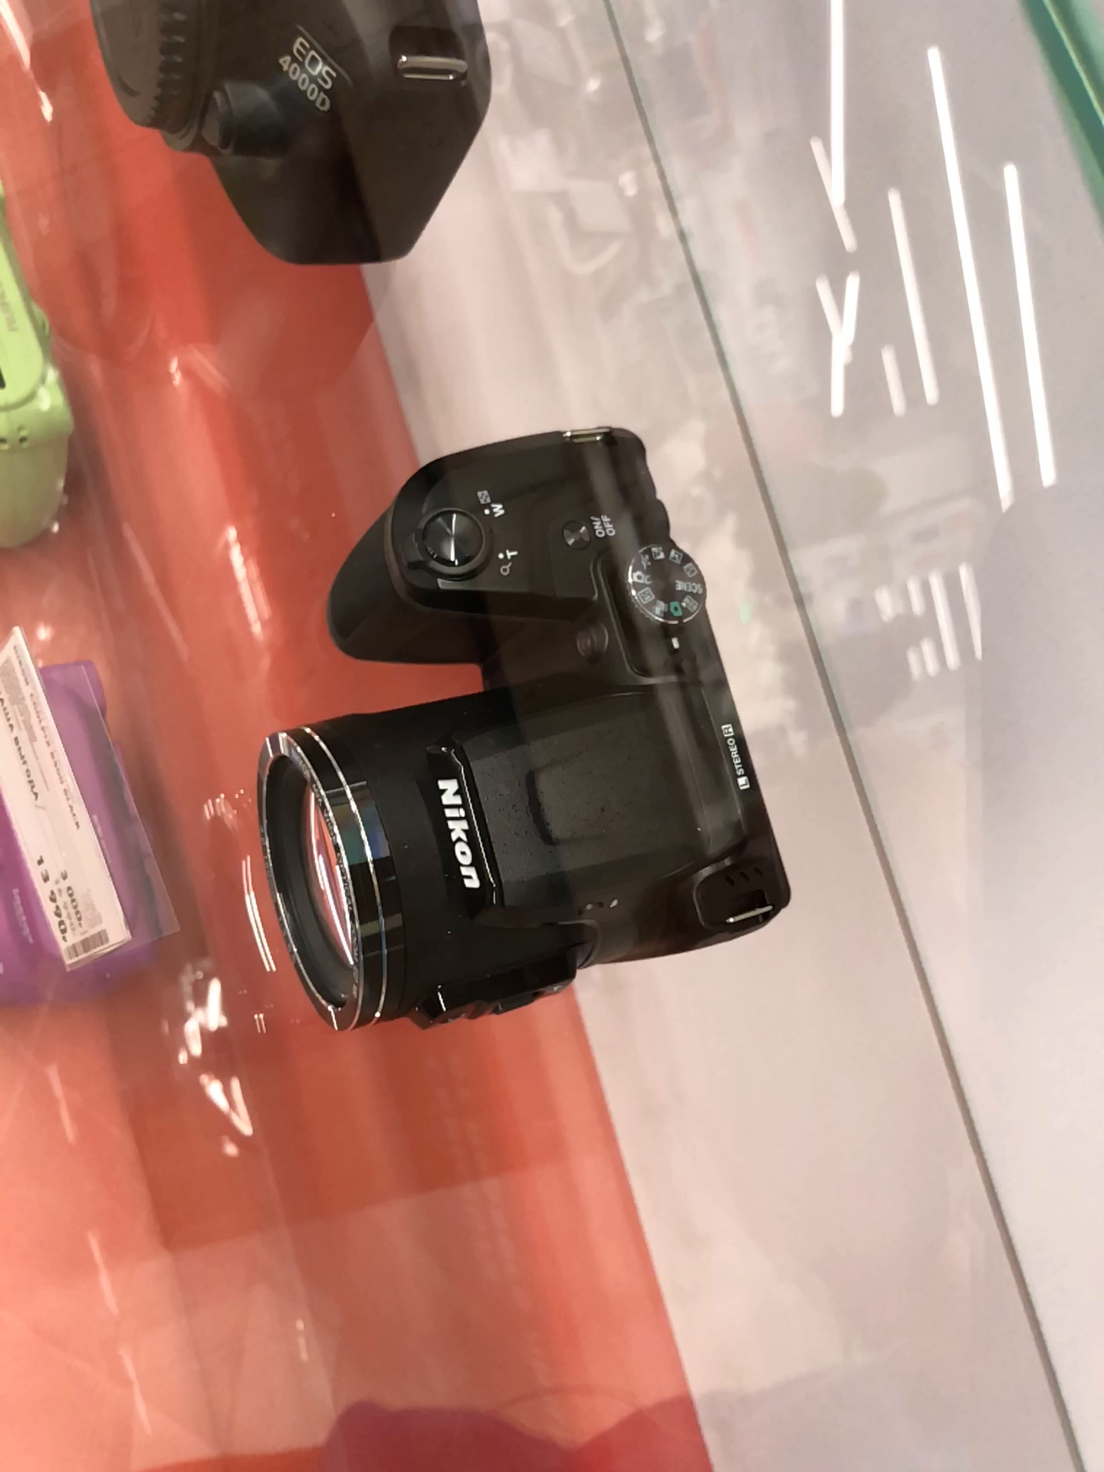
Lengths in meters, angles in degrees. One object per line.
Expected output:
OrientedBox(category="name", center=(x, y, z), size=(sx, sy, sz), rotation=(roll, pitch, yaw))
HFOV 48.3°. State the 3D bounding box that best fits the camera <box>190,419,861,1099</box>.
OrientedBox(category="camera", center=(-0.010, 0.004, 0.266), size=(0.100, 0.070, 0.115), rotation=(-12, 83, -27))
